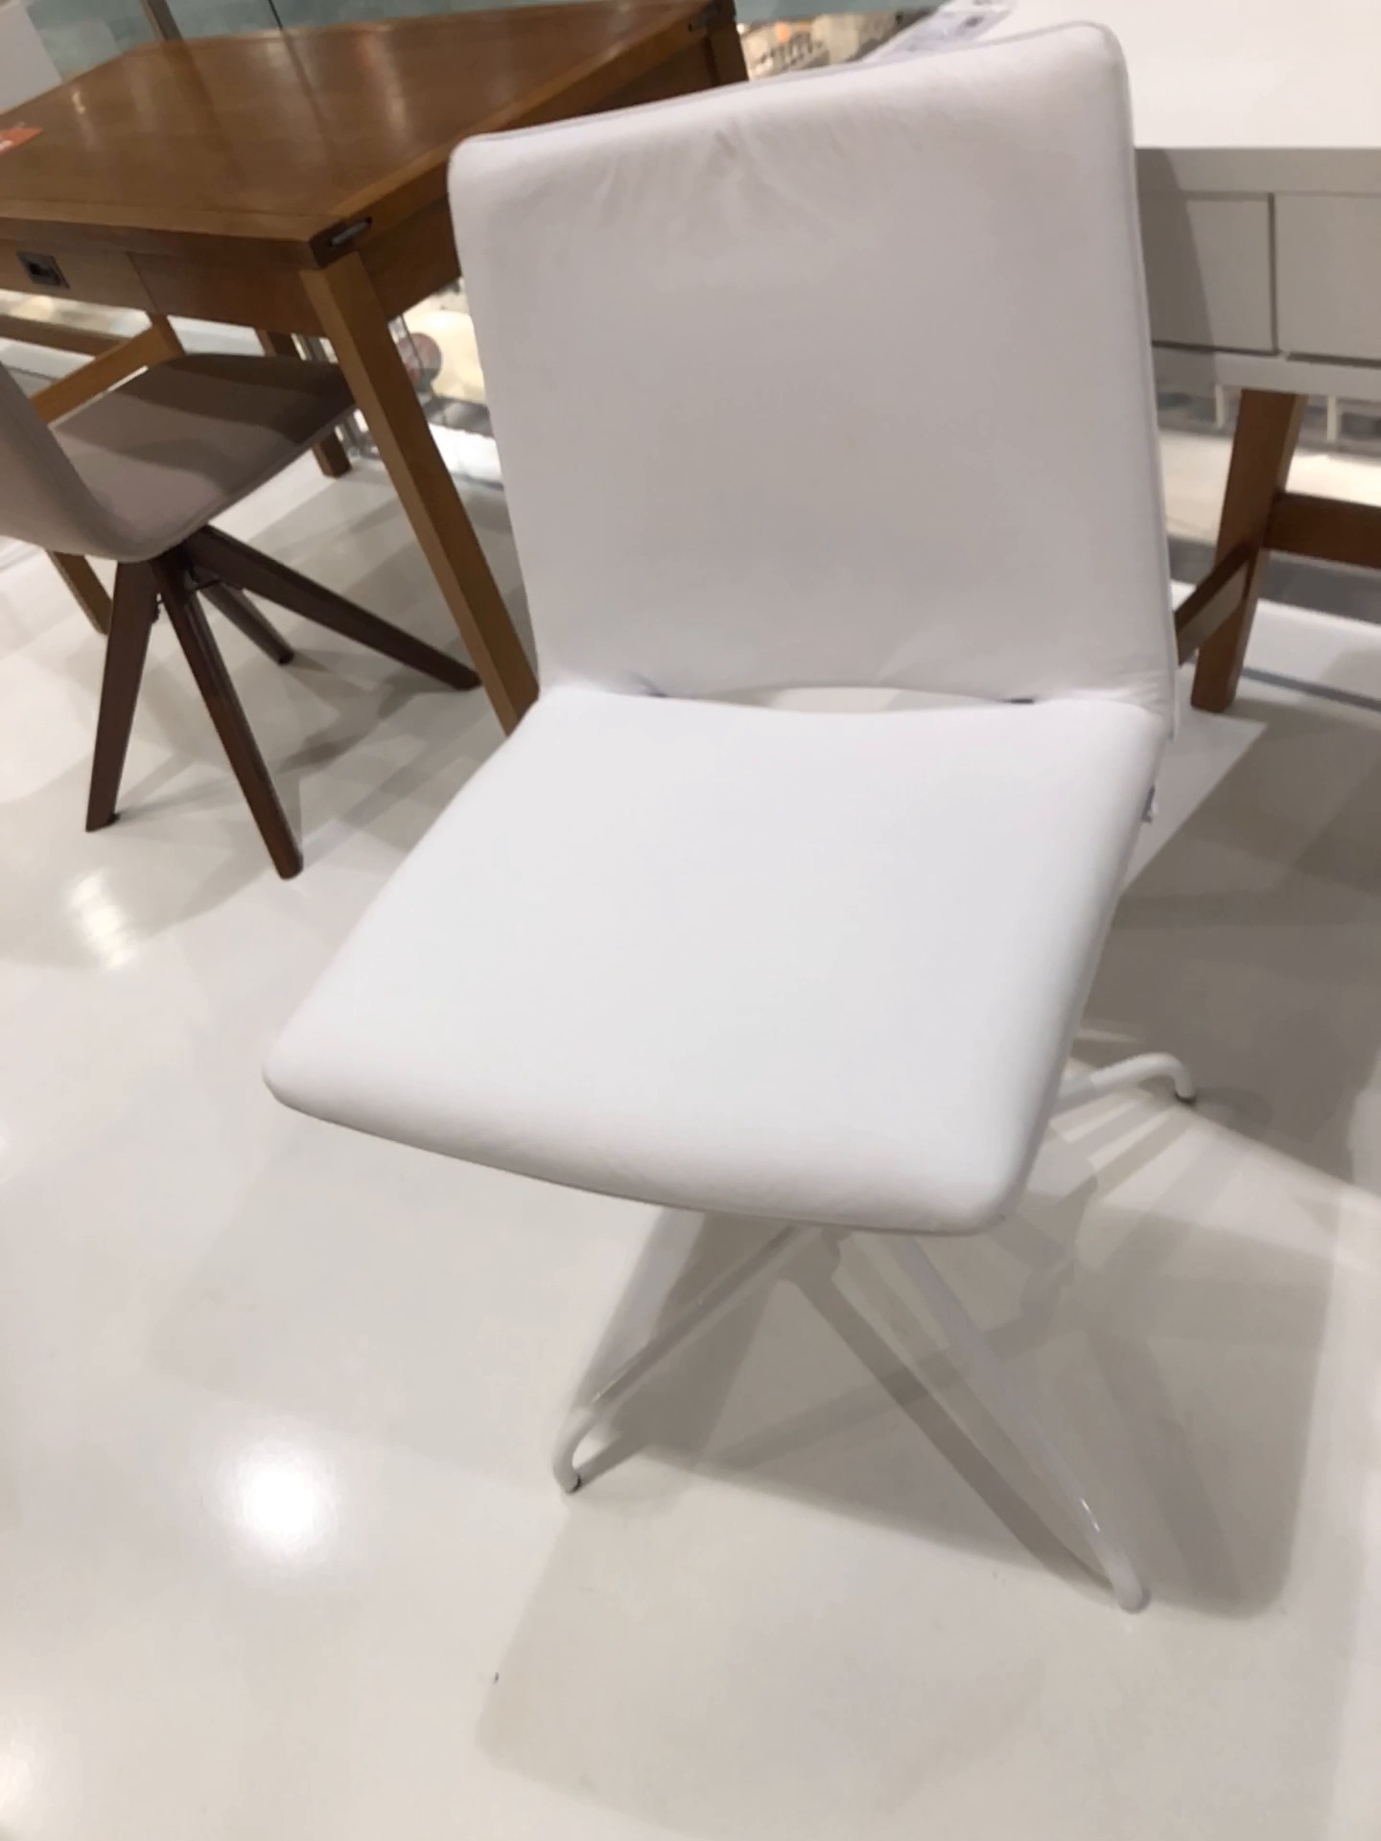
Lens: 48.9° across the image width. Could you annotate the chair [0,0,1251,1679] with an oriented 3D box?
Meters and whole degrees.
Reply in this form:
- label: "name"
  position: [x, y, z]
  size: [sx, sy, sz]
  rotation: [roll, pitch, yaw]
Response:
- label: "chair"
  position: [0.036, -0.008, 0.980]
  size: [0.511, 0.844, 0.503]
  rotation: [5, 47, 28]
